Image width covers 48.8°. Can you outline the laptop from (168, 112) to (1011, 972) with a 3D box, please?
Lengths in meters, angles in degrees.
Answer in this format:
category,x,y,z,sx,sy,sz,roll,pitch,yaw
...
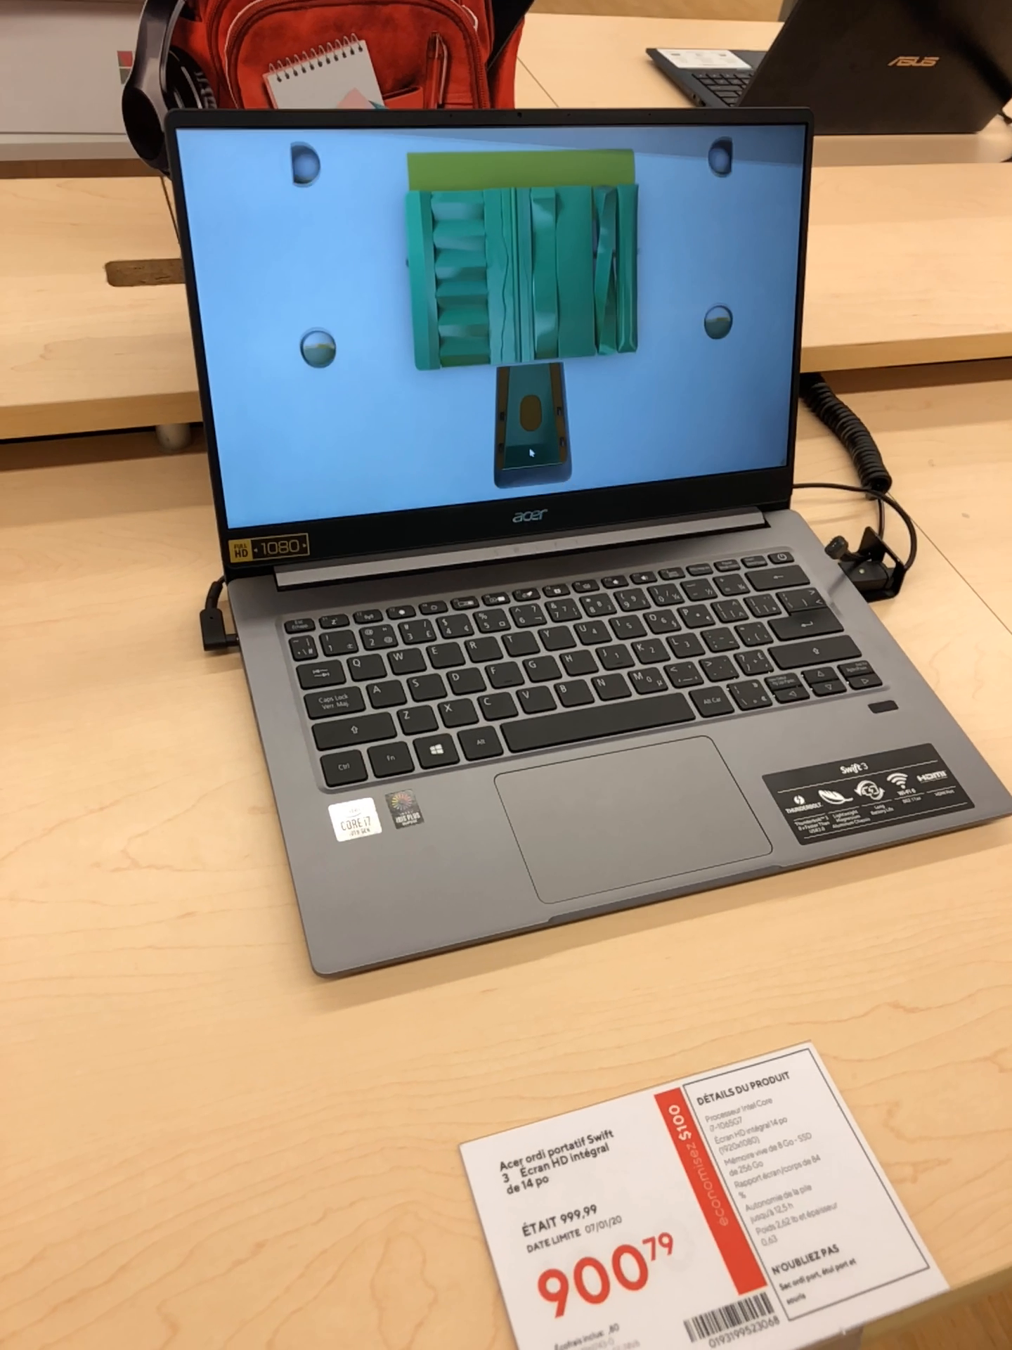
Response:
category,x,y,z,sx,sy,sz,roll,pitch,yaw
laptop,0.043,-0.089,0.486,0.315,0.177,0.312,-9,49,-18
